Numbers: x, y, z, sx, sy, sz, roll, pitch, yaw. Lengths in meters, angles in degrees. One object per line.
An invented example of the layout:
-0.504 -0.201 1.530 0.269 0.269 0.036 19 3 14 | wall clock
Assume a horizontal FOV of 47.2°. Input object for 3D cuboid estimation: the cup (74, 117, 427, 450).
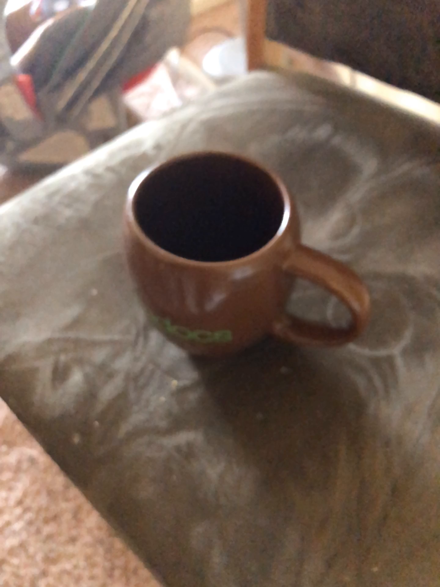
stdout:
0.013 -0.005 0.280 0.140 0.100 0.090 32 62 16 | cup
